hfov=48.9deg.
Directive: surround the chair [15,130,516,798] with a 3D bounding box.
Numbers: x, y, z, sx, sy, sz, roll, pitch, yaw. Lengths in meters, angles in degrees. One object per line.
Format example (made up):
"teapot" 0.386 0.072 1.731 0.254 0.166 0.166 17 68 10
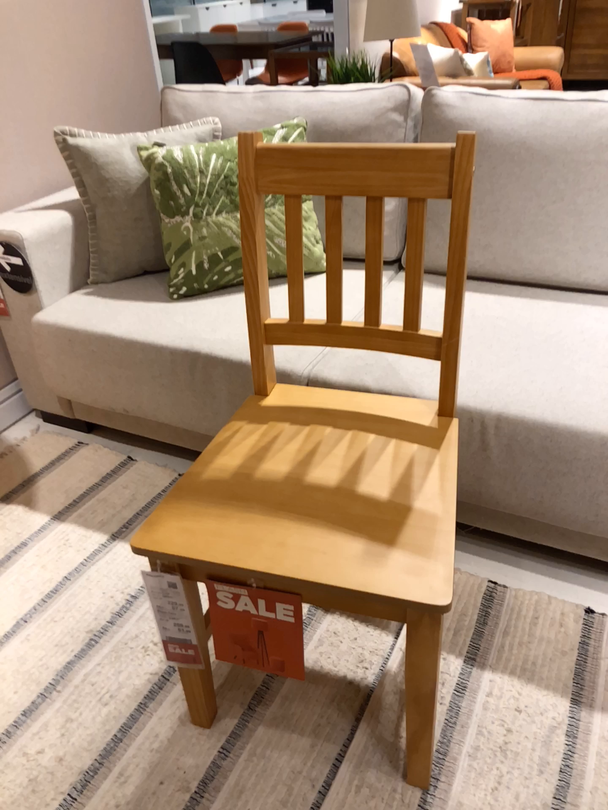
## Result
"chair" 0.034 0.065 1.026 0.460 0.814 0.524 6 34 16
